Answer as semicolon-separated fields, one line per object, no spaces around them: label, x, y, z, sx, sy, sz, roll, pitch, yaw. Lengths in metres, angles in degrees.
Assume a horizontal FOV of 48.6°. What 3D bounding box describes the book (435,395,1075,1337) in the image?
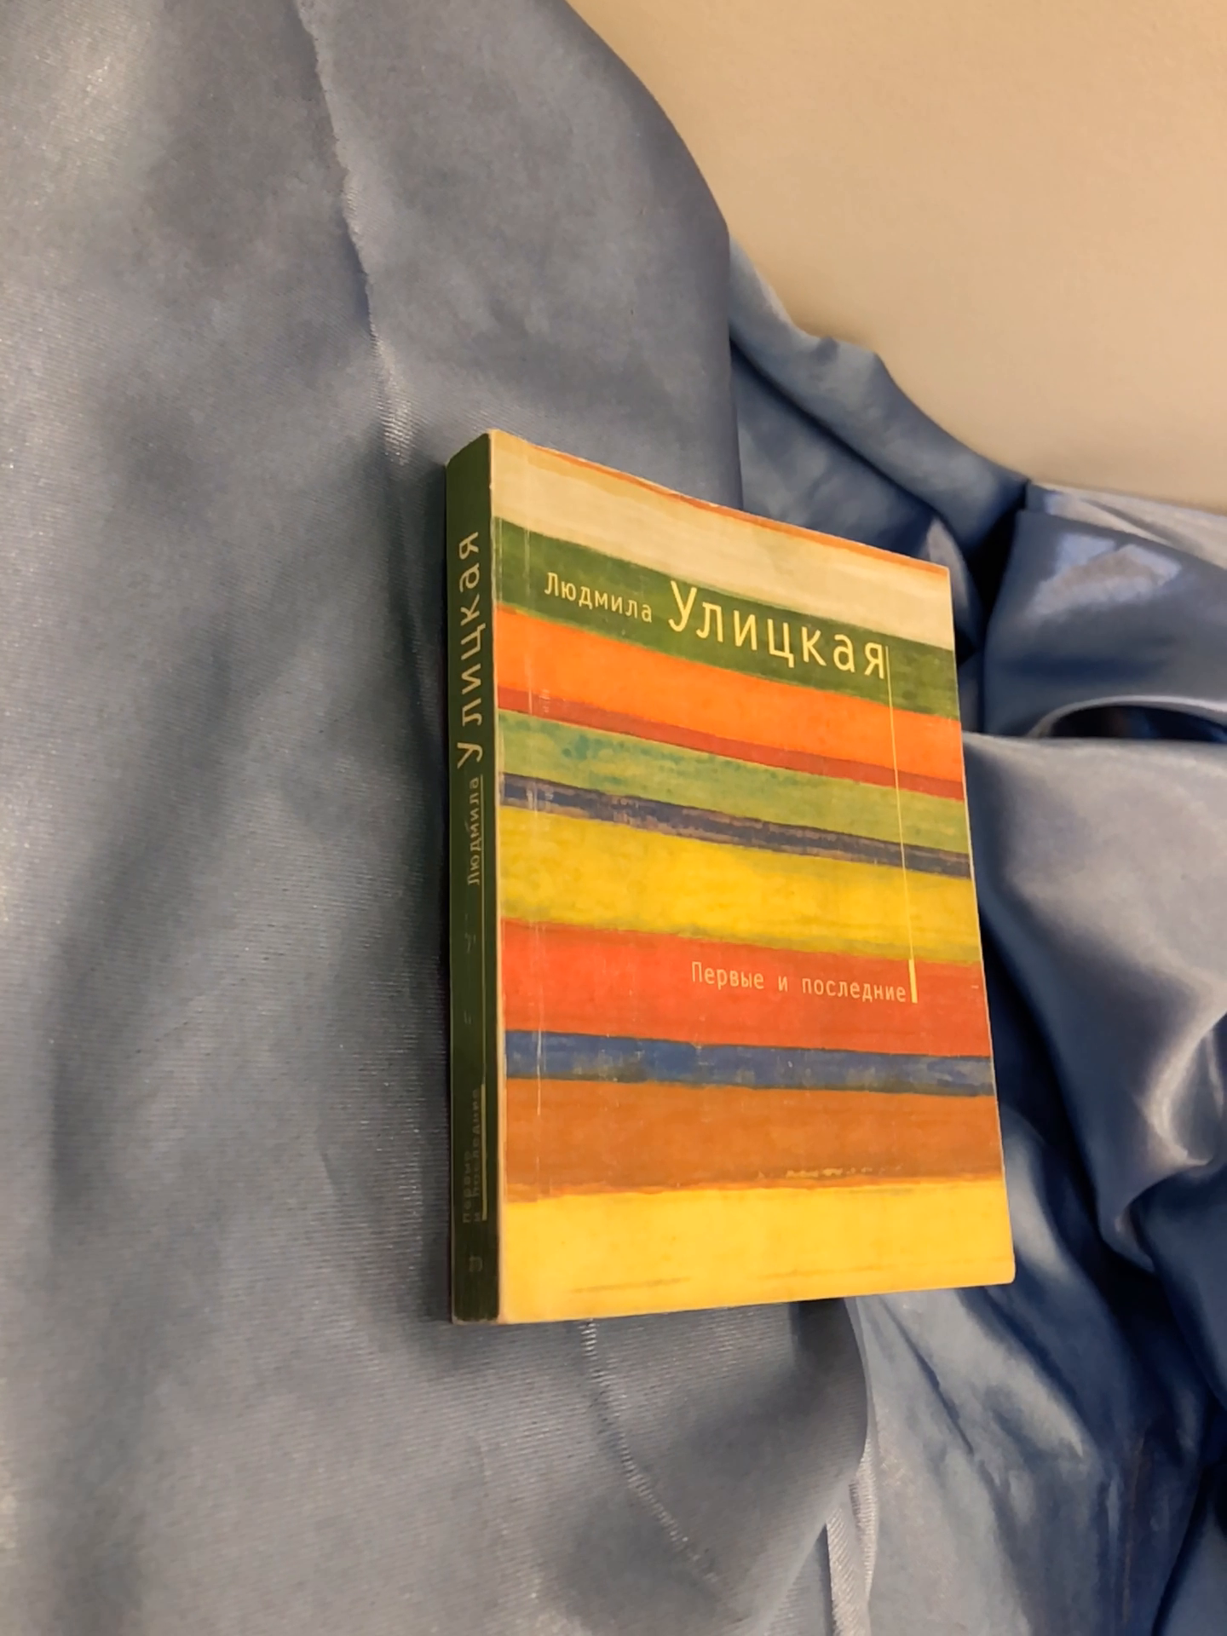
book;0.030;0.011;0.276;0.130;0.026;0.167;9;70;-31
